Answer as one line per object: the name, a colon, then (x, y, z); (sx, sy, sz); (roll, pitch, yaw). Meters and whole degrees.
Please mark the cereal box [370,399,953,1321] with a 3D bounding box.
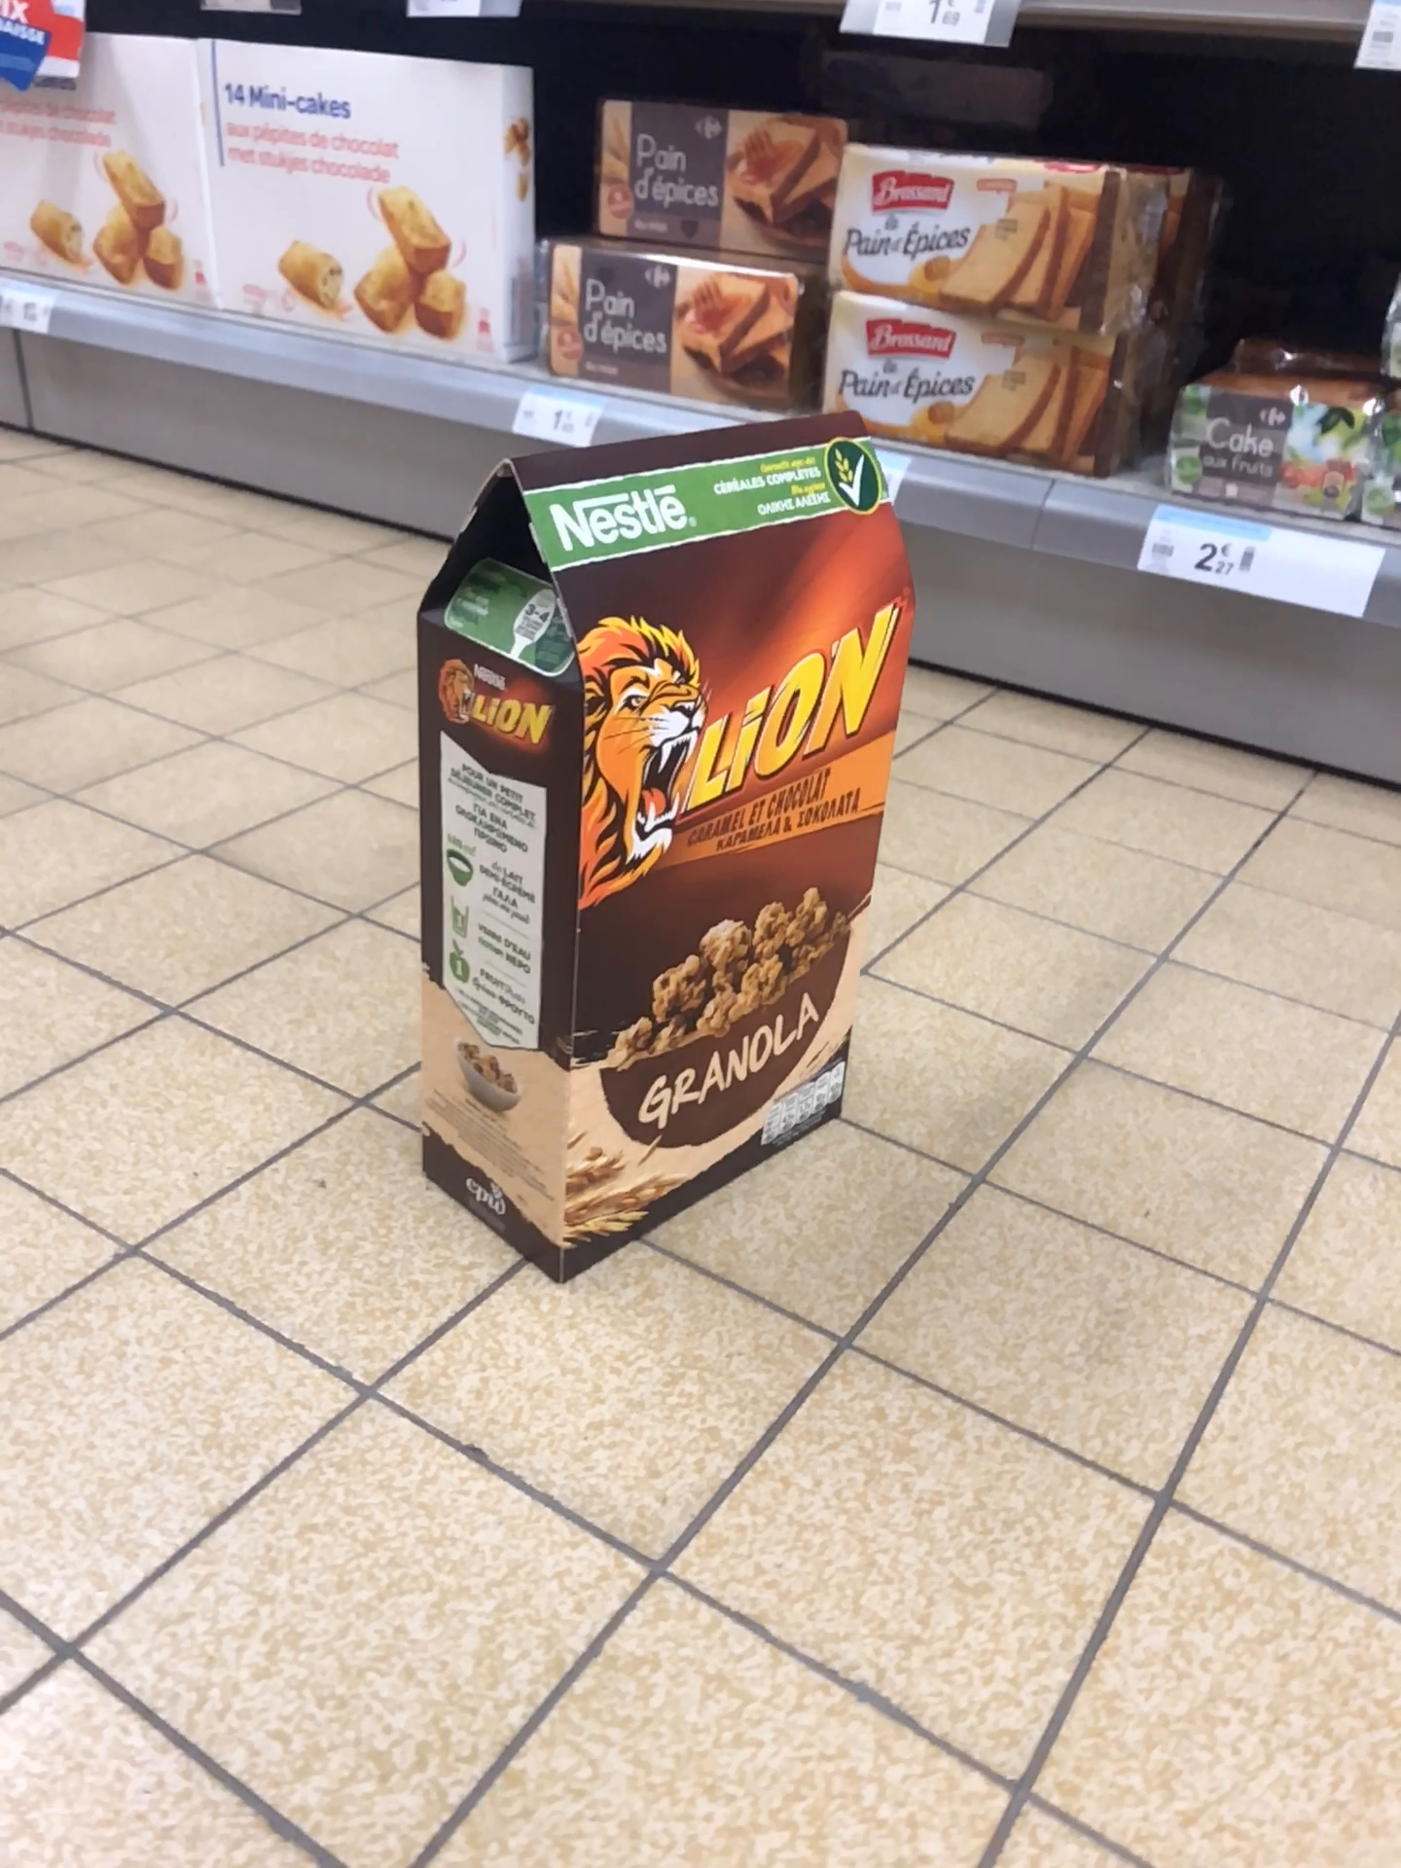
cereal box: (-0.014, -0.028, 0.490); (0.080, 0.249, 0.151); (27, 36, 36)
